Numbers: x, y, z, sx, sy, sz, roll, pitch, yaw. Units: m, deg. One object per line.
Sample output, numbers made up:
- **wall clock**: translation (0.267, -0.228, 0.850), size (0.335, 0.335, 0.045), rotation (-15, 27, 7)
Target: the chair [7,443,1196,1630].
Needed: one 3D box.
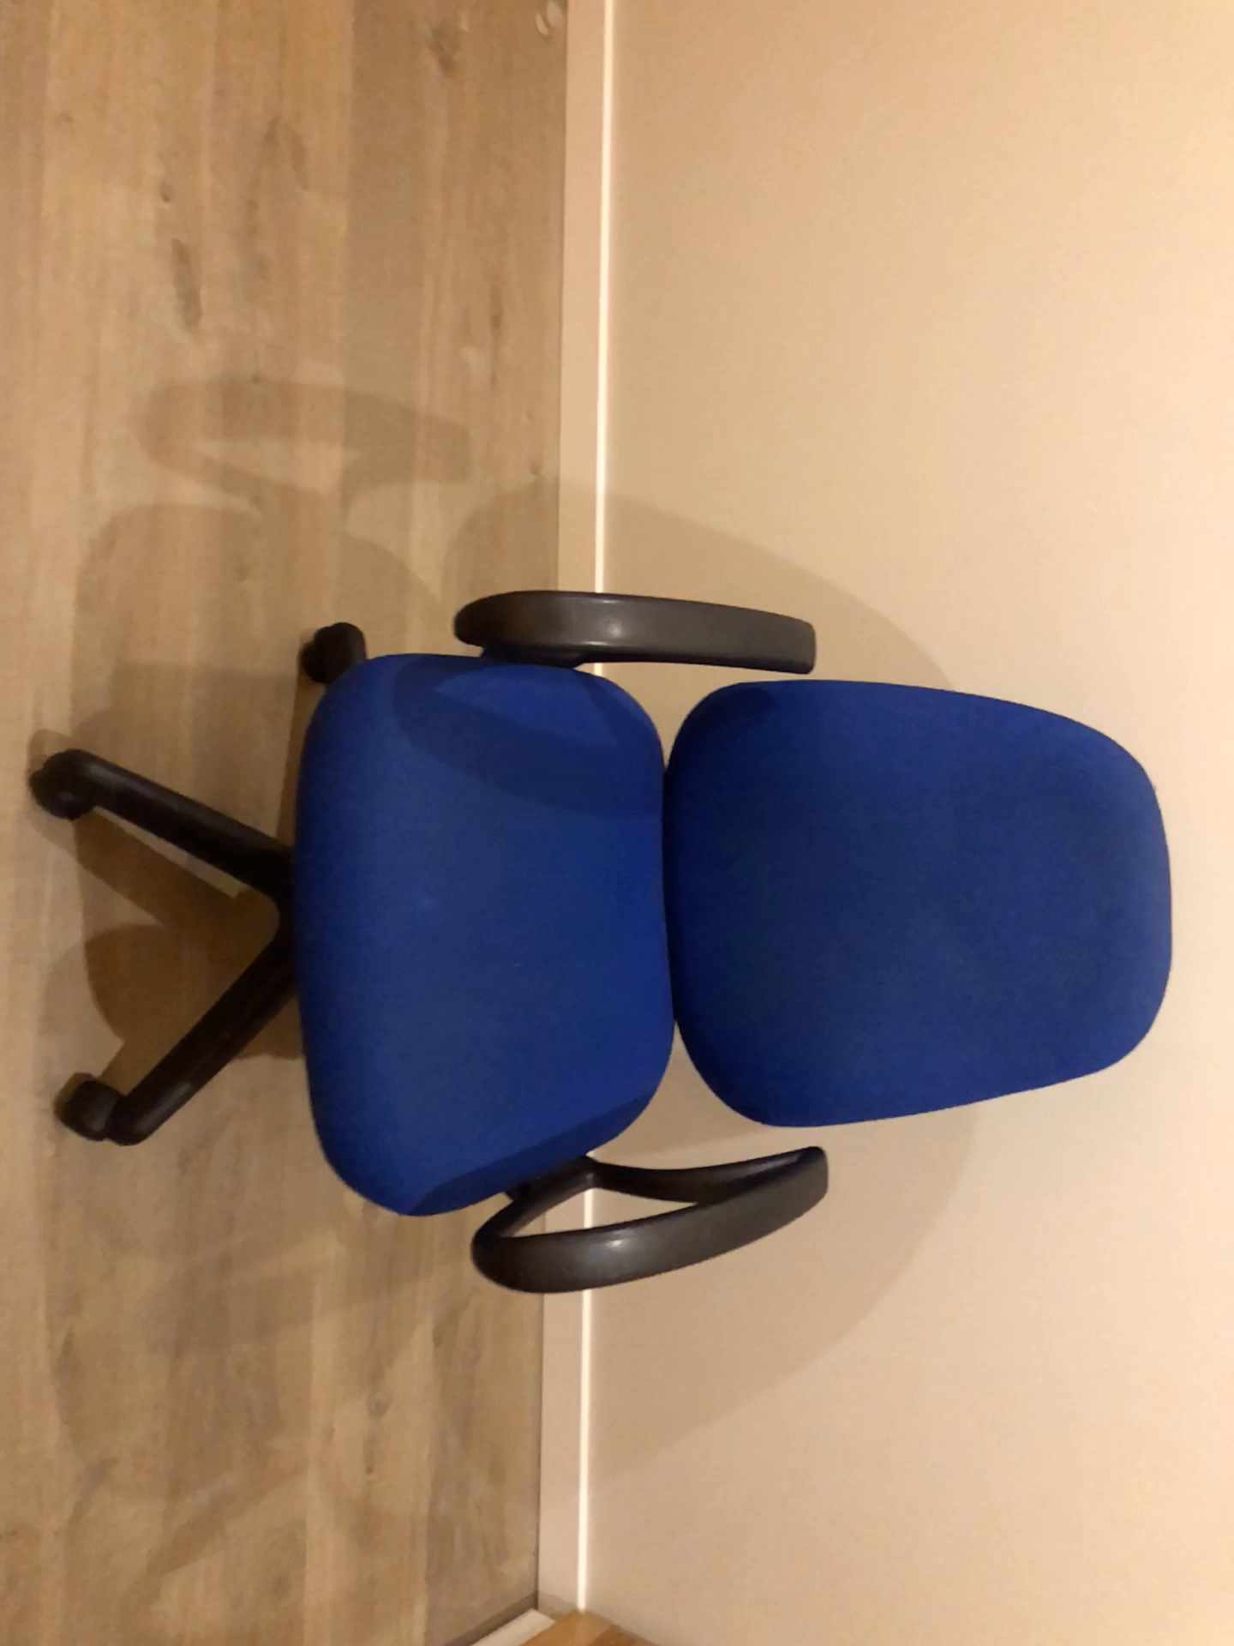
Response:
- **chair**: translation (-0.018, 0.104, 1.339), size (0.704, 0.904, 0.696), rotation (-7, 95, -49)
